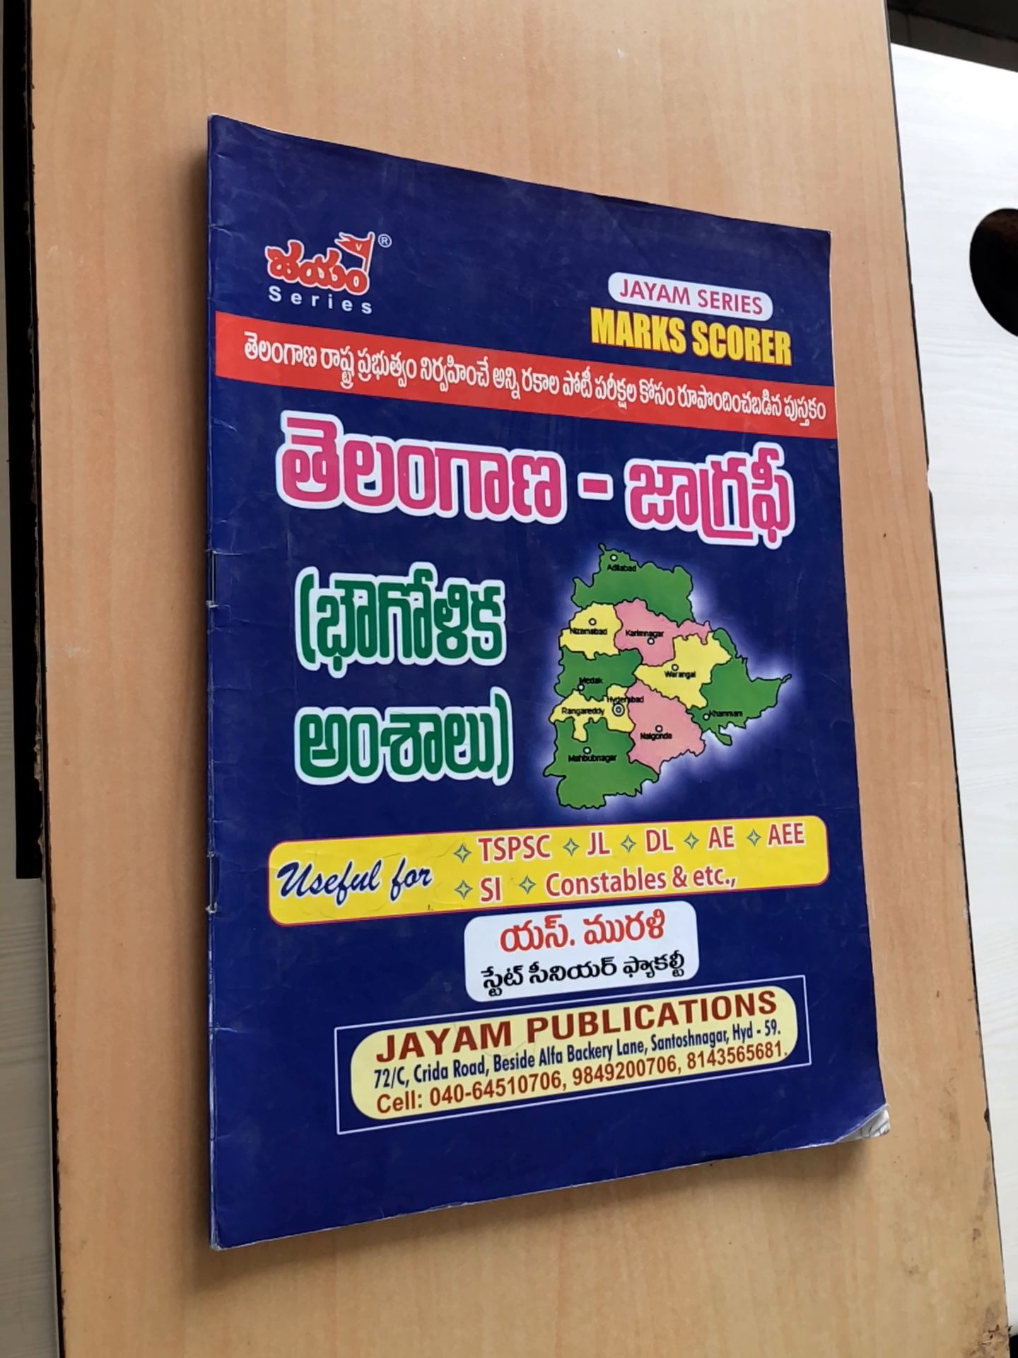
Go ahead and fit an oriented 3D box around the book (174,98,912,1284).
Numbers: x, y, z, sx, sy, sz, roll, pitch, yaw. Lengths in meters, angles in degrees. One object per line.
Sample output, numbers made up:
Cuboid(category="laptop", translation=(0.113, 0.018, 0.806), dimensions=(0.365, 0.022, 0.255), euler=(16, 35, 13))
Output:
Cuboid(category="book", translation=(0.011, -0.002, 0.322), dimensions=(0.200, 0.040, 0.280), euler=(1, 83, -22))
